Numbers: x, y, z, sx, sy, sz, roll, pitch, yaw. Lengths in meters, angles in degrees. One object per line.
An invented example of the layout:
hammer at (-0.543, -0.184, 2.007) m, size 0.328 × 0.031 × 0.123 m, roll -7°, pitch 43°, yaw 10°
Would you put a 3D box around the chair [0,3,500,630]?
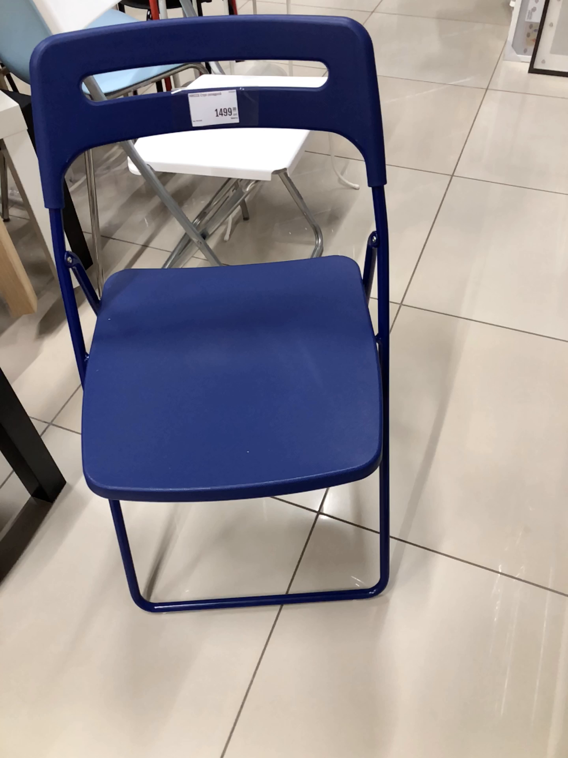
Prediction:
chair at (-0.067, -0.031, 0.856) m, size 0.450 × 0.705 × 0.468 m, roll -4°, pitch 49°, yaw 0°
